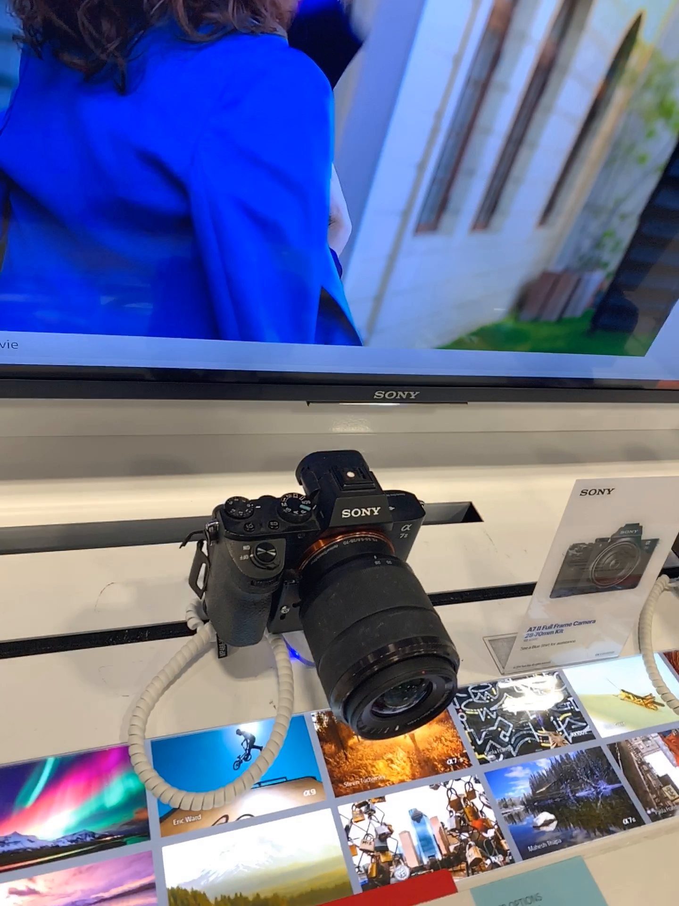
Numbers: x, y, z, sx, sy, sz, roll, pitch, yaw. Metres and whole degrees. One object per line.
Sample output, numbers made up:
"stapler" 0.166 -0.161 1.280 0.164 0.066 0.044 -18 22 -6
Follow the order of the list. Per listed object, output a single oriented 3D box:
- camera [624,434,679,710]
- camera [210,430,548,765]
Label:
"camera" 0.357 0.083 0.554 0.140 0.099 0.181 -2 42 -22
"camera" 0.009 0.069 0.392 0.128 0.084 0.151 -2 42 -22
